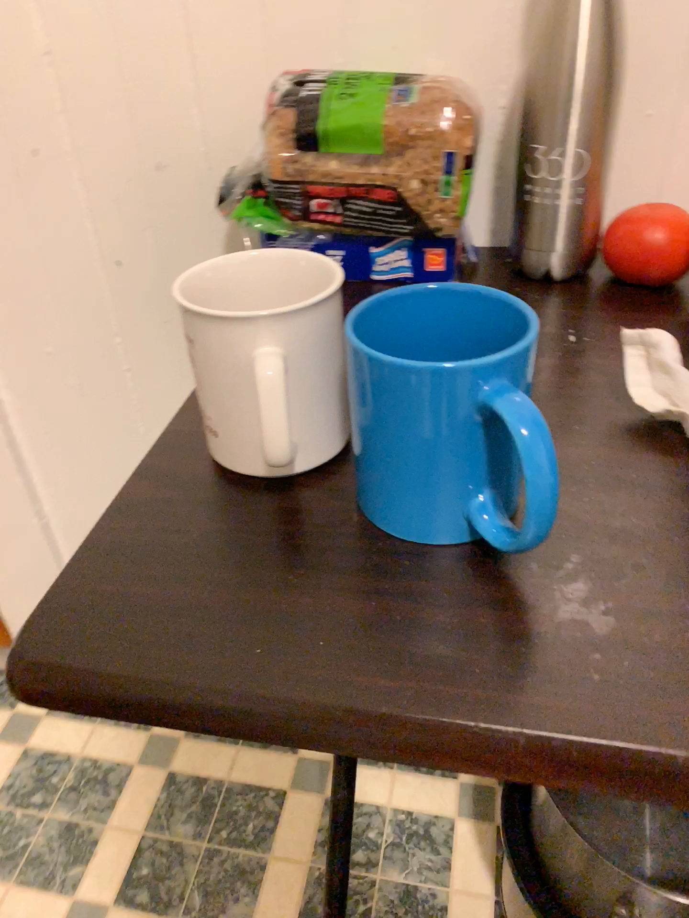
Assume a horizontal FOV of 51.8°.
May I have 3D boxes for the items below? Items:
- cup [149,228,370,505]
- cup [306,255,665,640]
[{"bbox_3d":[-0.041,-0.054,0.372,0.090,0.089,0.121,-6,36,-3],"label":"cup"},{"bbox_3d":[0.051,-0.015,0.326,0.090,0.099,0.141,-15,37,-15],"label":"cup"}]
